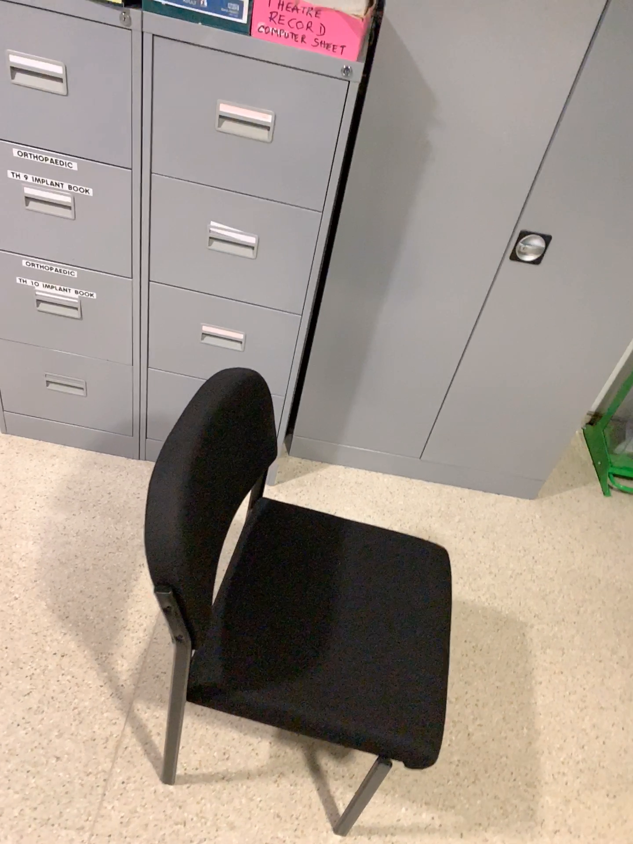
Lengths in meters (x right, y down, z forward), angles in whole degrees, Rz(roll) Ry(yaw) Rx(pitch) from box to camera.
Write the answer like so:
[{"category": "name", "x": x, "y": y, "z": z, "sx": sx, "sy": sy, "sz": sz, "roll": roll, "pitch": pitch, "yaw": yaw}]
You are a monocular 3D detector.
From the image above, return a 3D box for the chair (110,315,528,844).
[{"category": "chair", "x": -0.019, "y": 0.363, "z": 1.394, "sx": 0.590, "sy": 0.851, "sz": 0.636, "roll": 15, "pitch": 41, "yaw": 1}]
